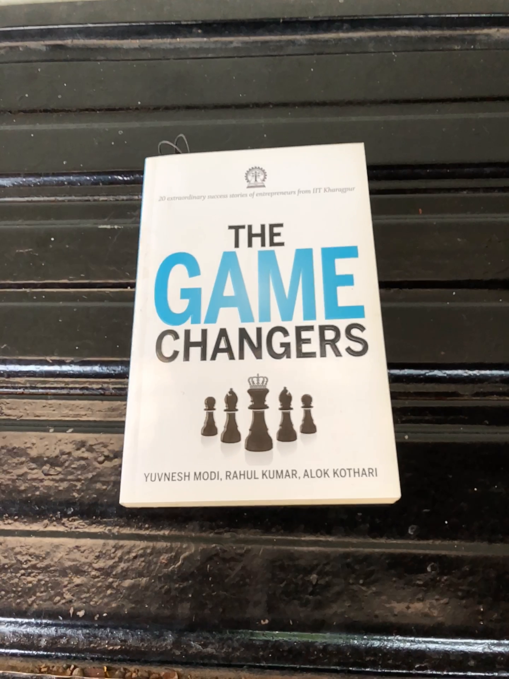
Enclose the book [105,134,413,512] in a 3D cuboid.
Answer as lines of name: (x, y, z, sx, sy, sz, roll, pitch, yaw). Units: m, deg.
book: (0.001, -0.014, 0.288, 0.130, 0.030, 0.190, -2, 69, 3)
